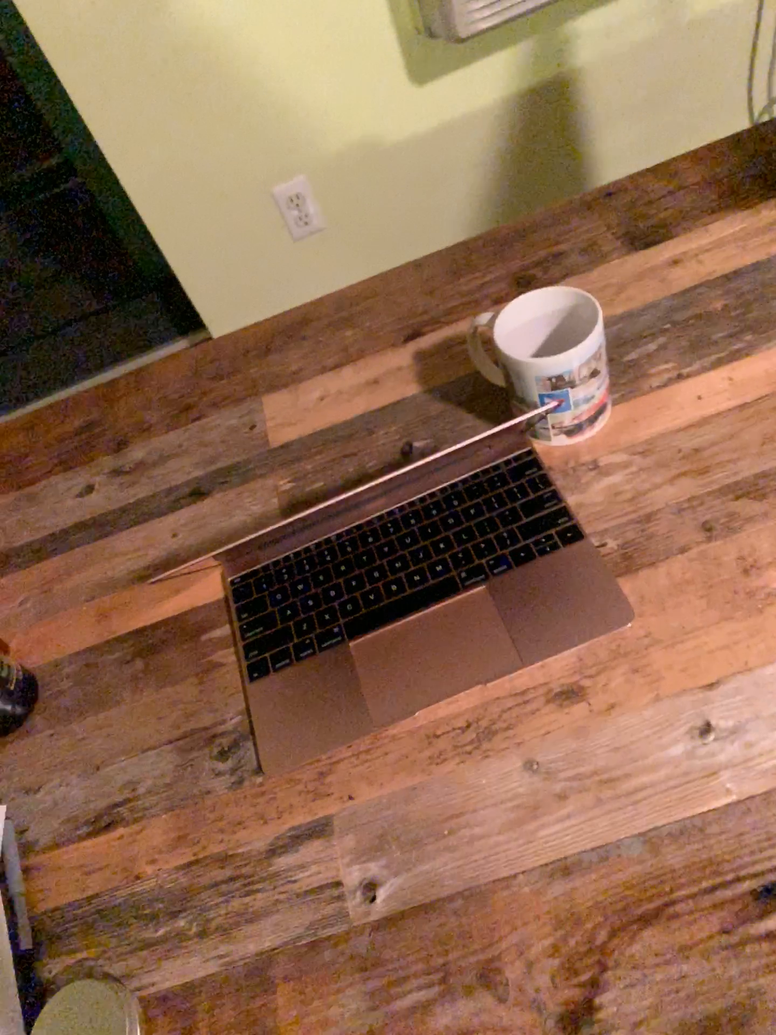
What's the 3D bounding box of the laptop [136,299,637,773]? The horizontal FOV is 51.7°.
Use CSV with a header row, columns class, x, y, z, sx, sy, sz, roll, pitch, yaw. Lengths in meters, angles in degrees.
class,x,y,z,sx,sy,sz,roll,pitch,yaw
laptop,-0.005,0.013,0.563,0.278,0.145,0.194,-23,51,2
